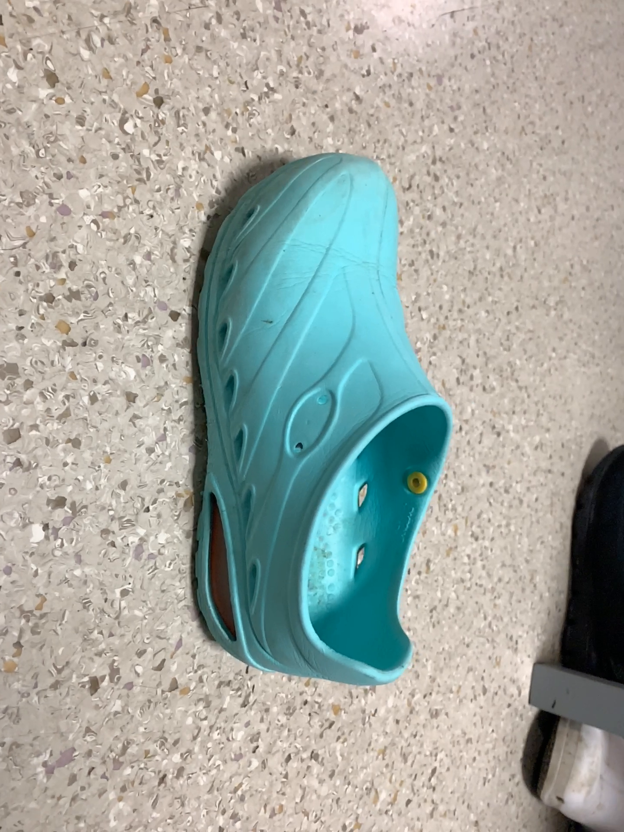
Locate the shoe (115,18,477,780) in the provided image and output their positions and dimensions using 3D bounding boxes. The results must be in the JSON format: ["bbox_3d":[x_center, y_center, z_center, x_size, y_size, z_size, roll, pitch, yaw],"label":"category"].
[{"bbox_3d":[-0.005,-0.007,0.306,0.106,0.105,0.275,7,86,-47],"label":"shoe"}]
